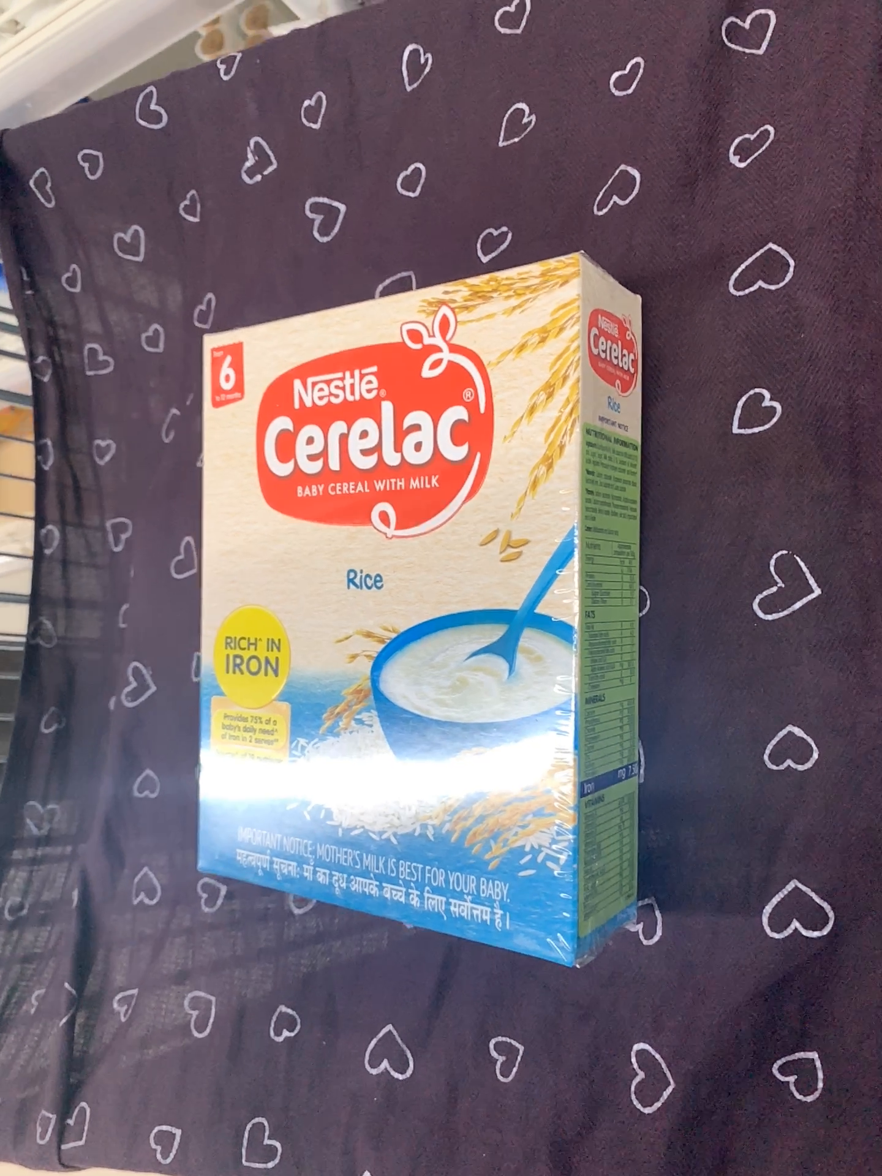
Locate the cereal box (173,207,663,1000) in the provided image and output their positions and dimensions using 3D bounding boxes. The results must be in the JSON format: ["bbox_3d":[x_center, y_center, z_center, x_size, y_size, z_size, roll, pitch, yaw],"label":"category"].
[{"bbox_3d":[-0.014,0.004,0.291,0.161,0.040,0.200,-1,88,33],"label":"cereal box"}]
